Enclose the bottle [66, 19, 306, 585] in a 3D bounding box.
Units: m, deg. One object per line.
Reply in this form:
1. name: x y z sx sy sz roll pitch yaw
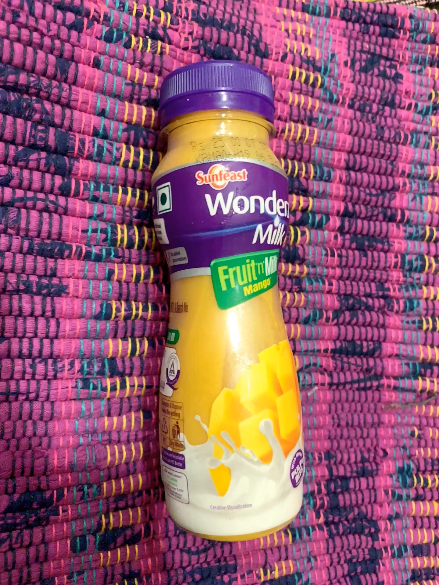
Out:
1. bottle: -0.012 0.006 0.144 0.050 0.040 0.150 -5 89 -27
